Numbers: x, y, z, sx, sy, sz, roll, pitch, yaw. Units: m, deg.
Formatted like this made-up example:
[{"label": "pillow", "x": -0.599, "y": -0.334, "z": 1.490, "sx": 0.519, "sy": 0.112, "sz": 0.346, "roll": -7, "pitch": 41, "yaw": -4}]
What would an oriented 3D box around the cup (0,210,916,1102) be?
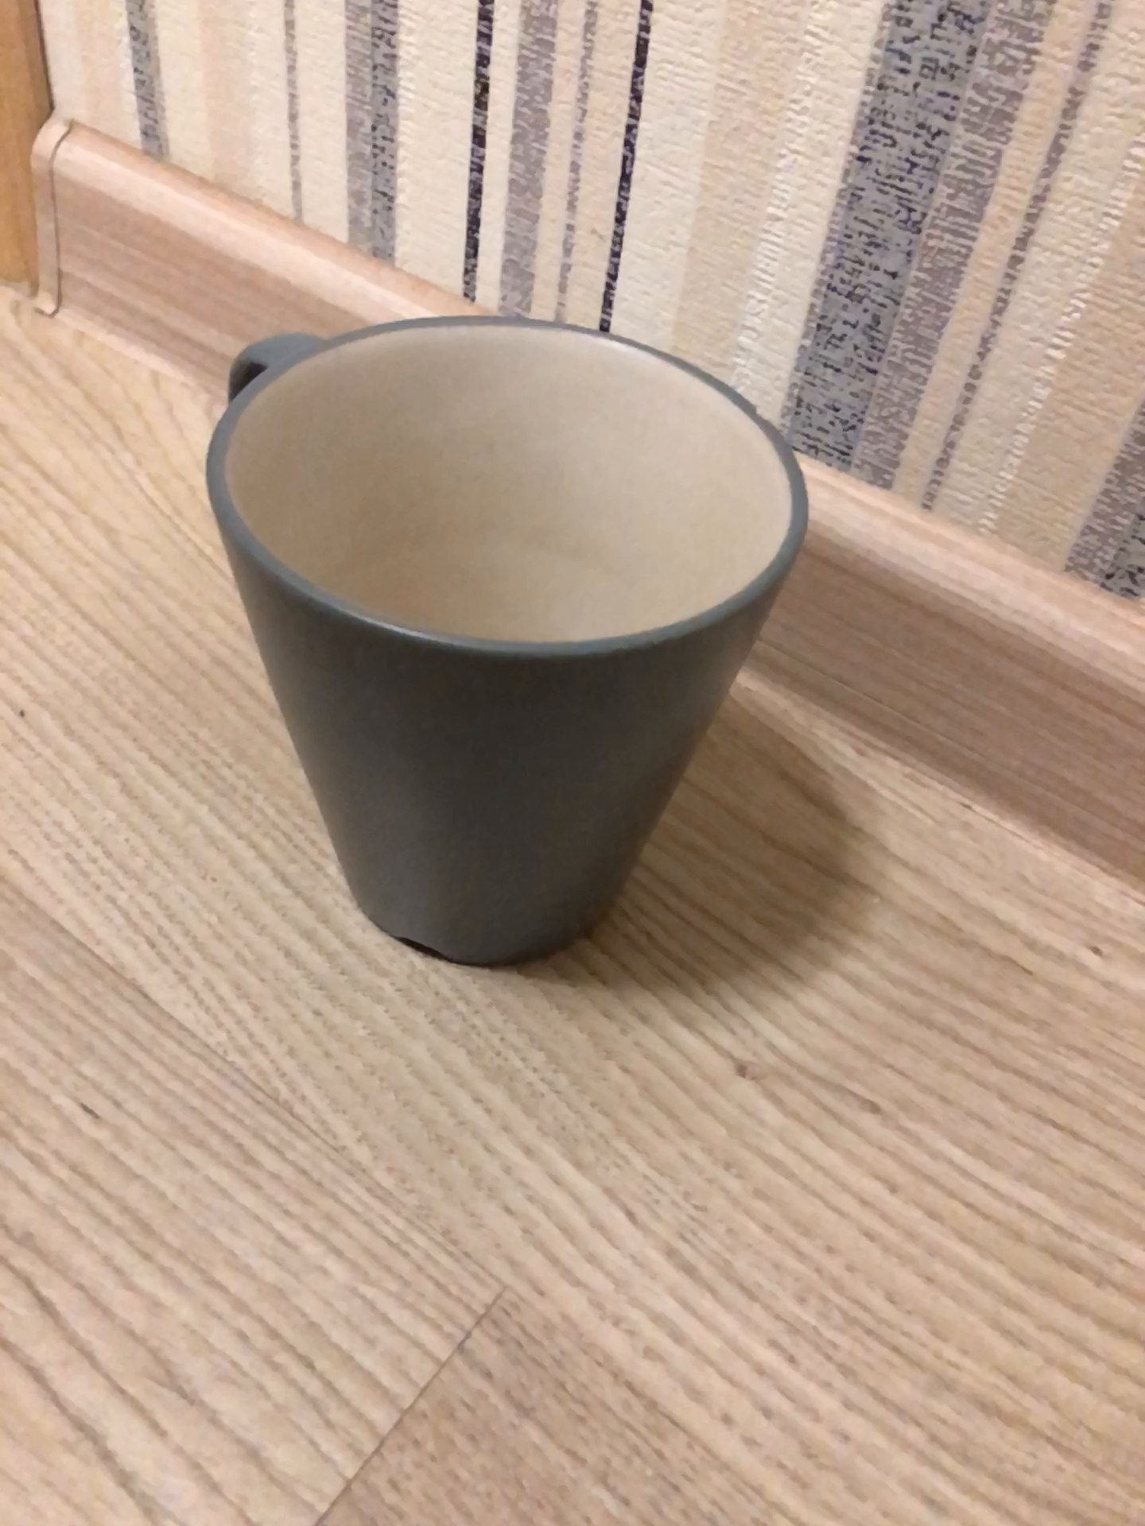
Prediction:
[{"label": "cup", "x": -0.026, "y": -0.029, "z": 0.242, "sx": 0.096, "sy": 0.089, "sz": 0.125, "roll": -29, "pitch": 55, "yaw": -32}]
